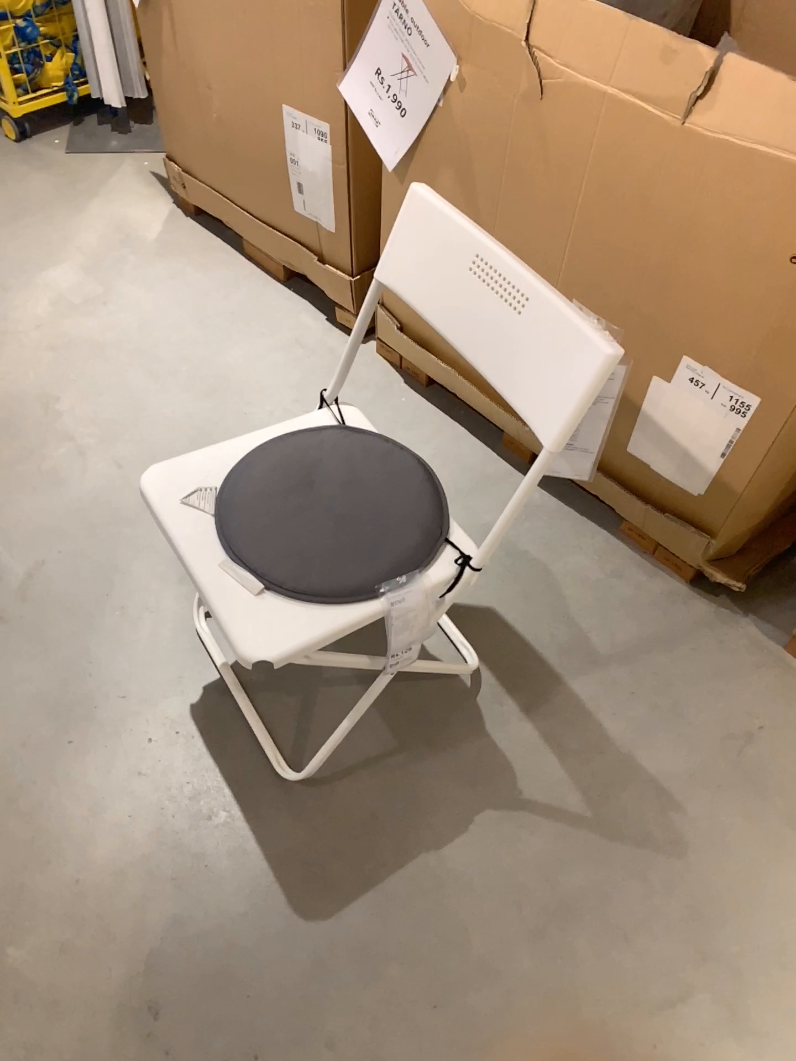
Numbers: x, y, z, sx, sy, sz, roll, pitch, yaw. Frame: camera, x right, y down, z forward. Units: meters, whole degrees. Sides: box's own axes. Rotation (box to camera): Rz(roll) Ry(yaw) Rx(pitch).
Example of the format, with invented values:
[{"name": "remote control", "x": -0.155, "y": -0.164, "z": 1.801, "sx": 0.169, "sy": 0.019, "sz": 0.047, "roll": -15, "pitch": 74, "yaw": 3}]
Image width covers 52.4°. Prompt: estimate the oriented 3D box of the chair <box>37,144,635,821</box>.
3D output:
[{"name": "chair", "x": -0.104, "y": -0.040, "z": 1.179, "sx": 0.480, "sy": 0.738, "sz": 0.491, "roll": -24, "pitch": 57, "yaw": -22}]
